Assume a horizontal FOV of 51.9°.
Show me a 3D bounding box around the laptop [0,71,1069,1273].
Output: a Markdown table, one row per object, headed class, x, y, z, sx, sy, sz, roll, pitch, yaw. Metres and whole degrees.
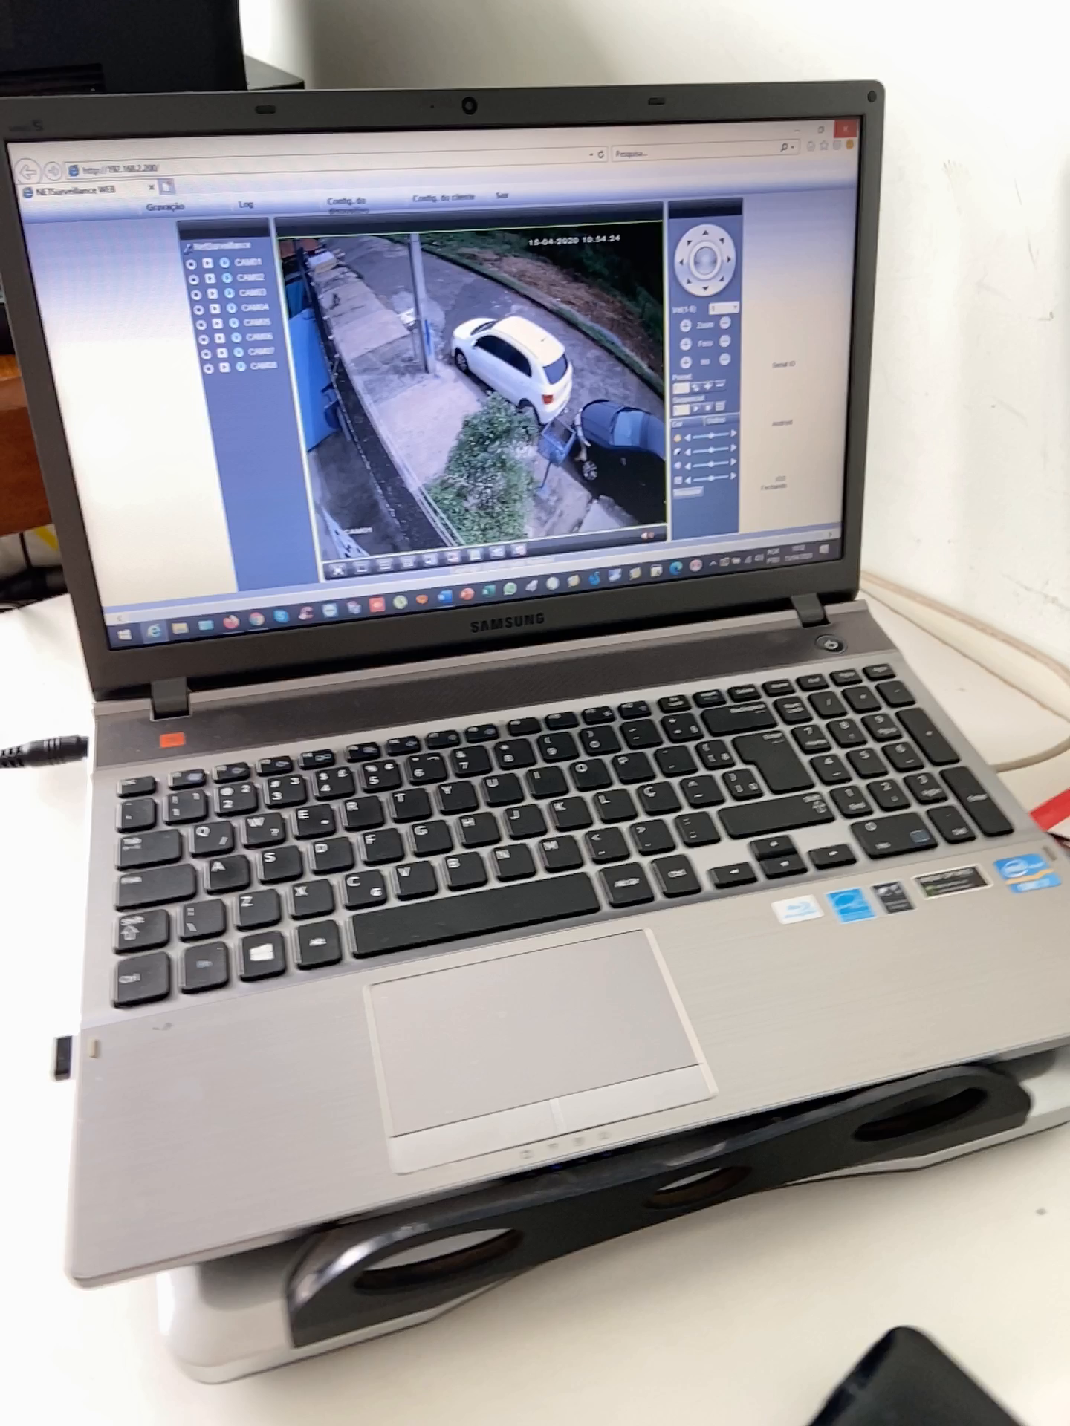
| class | x | y | z | sx | sy | sz | roll | pitch | yaw |
| --- | --- | --- | --- | --- | --- | --- | --- | --- | --- |
| laptop | 0.005 | -0.064 | 0.396 | 0.367 | 0.213 | 0.336 | -8 | 43 | -12 |
